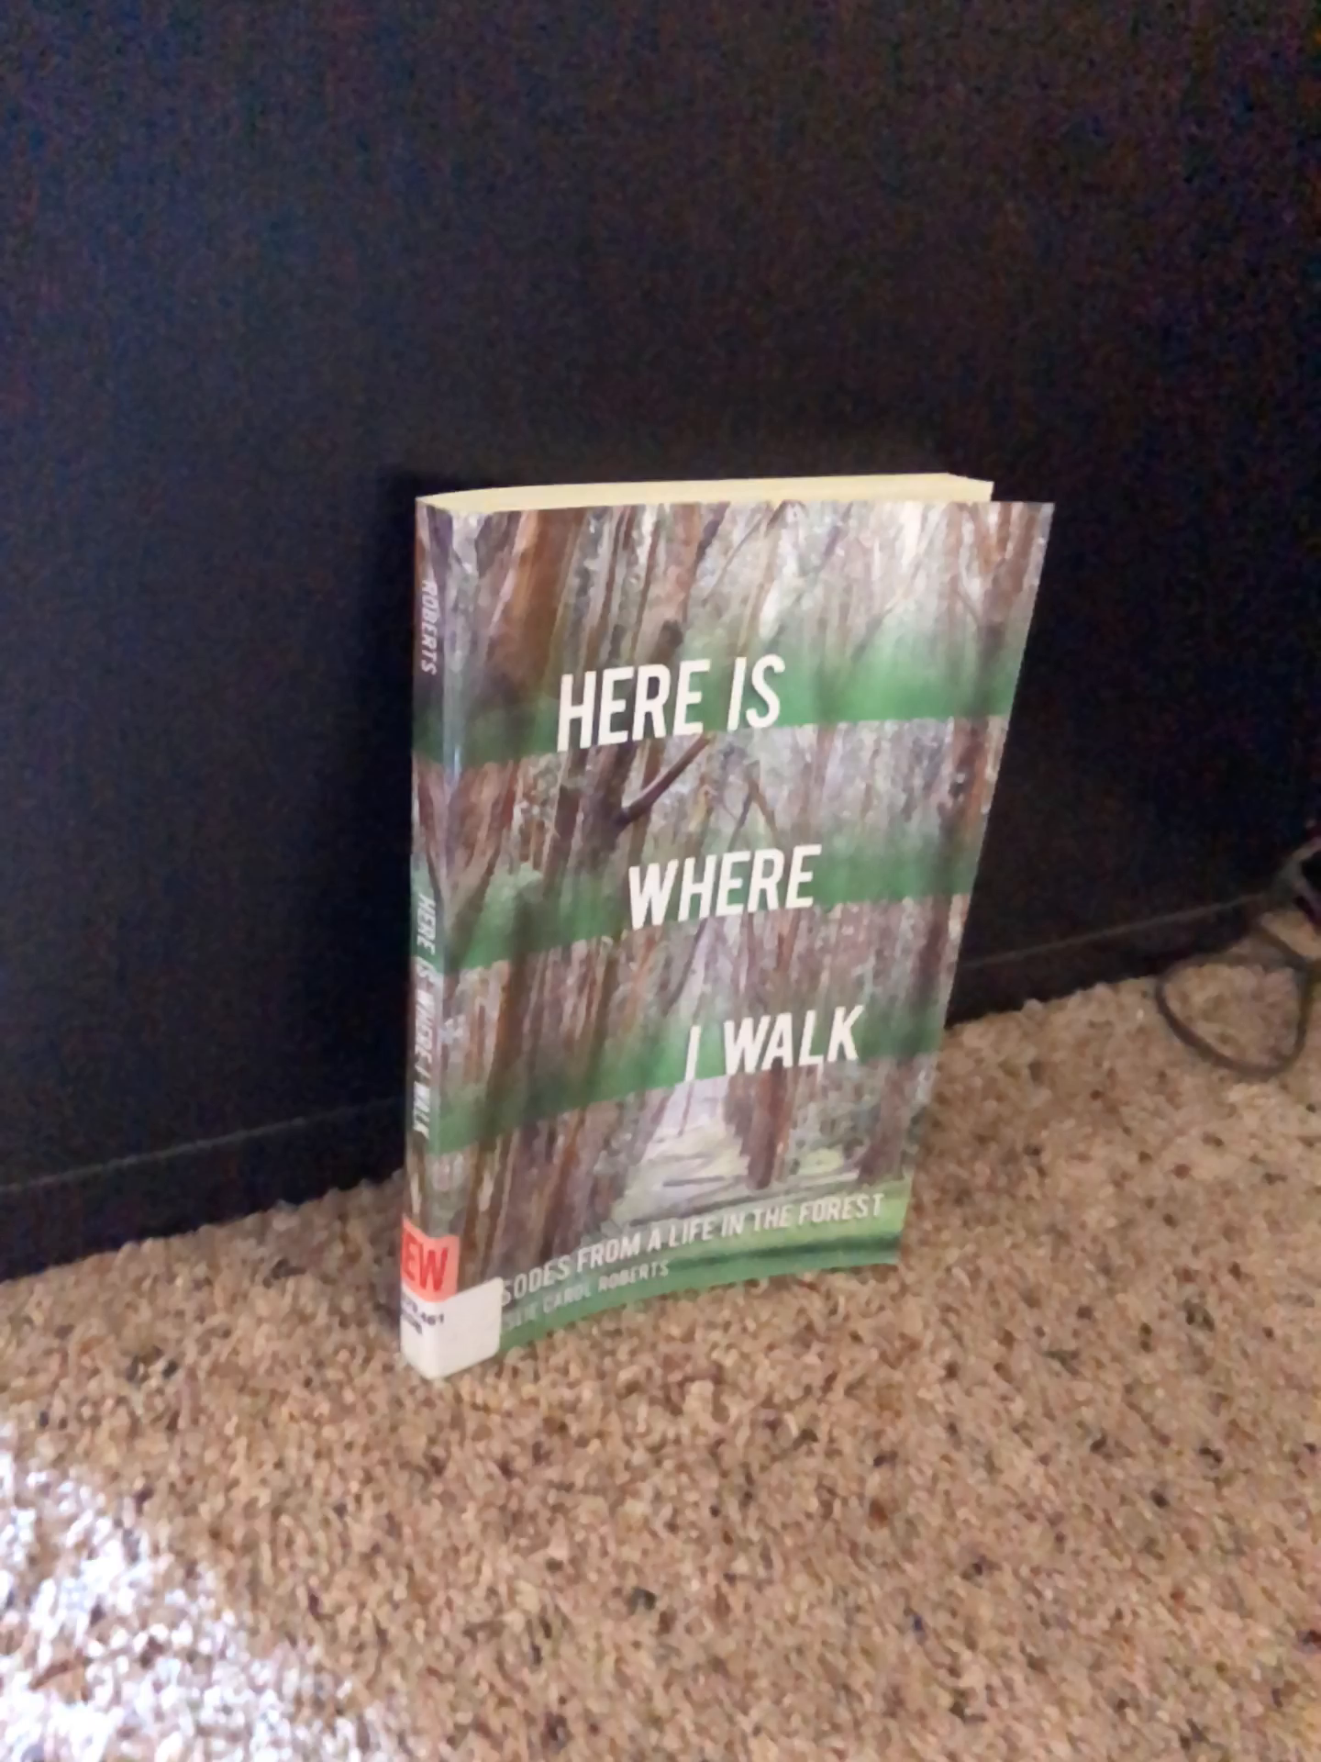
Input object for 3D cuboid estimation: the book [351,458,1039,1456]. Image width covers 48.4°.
[{"bbox_3d":[0.005,0.015,0.343,0.146,0.212,0.037,-12,29,-32],"label":"book"}]
